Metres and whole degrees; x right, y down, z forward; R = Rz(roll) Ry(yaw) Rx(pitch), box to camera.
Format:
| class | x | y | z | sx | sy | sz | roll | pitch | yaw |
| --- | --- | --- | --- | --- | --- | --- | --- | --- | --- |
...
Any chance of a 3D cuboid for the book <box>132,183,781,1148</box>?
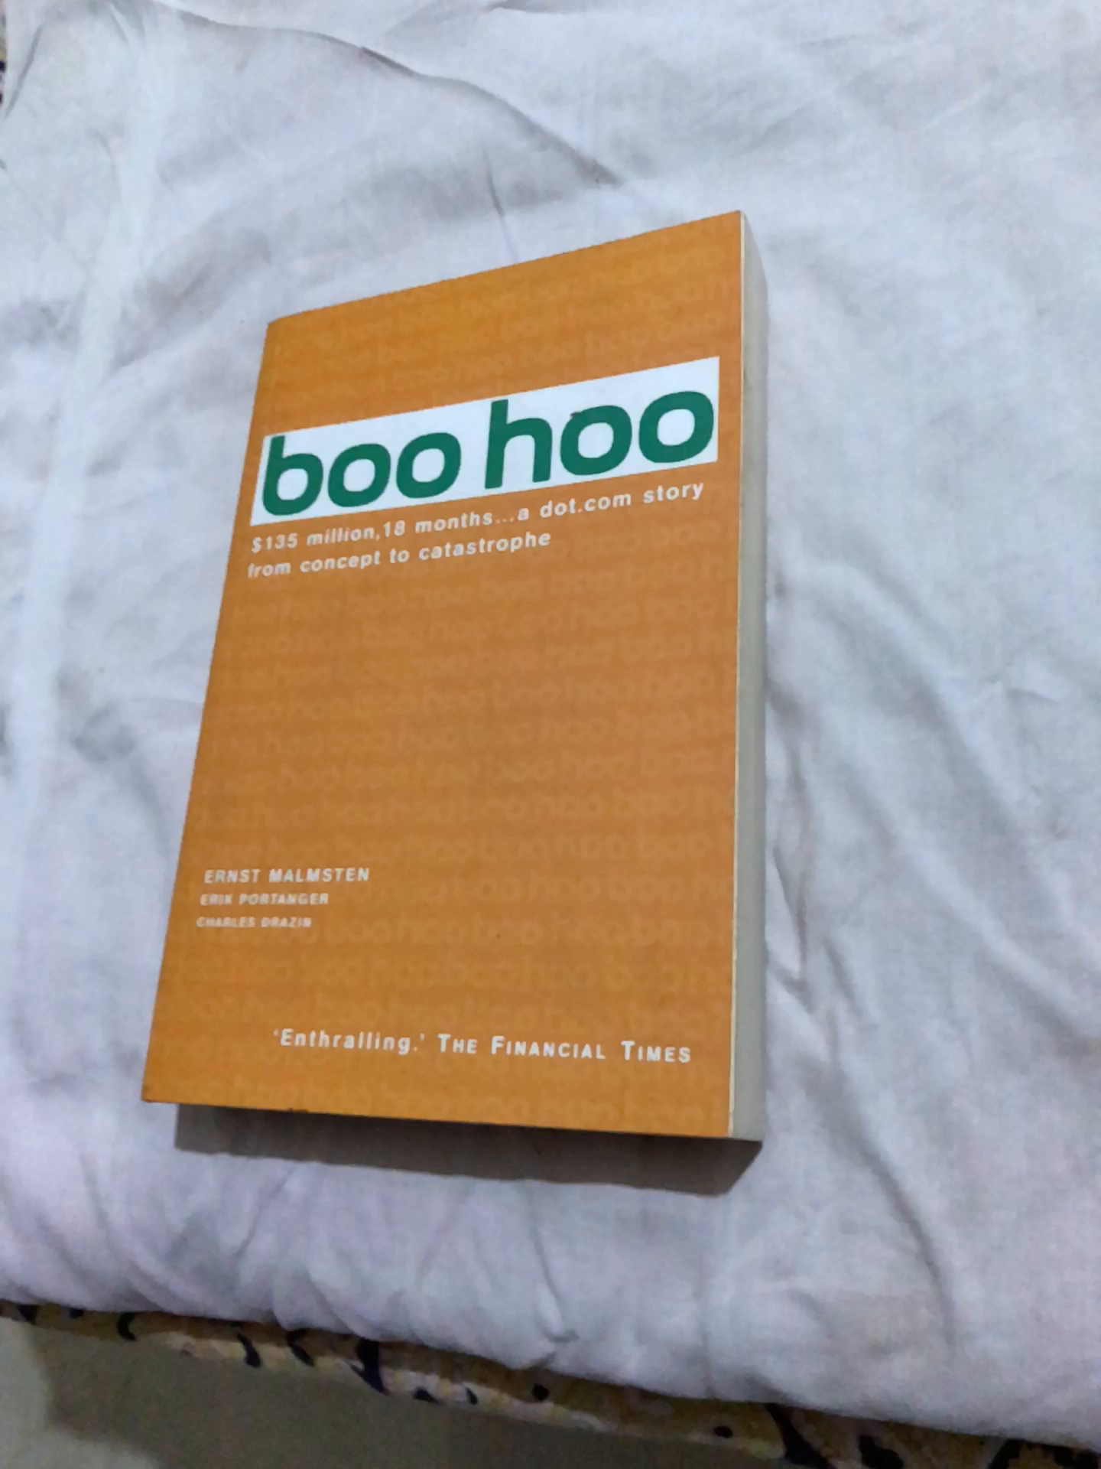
| class | x | y | z | sx | sy | sz | roll | pitch | yaw |
| --- | --- | --- | --- | --- | --- | --- | --- | --- | --- |
| book | -0.016 | -0.015 | 0.283 | 0.130 | 0.040 | 0.200 | -5 | 71 | 24 |
